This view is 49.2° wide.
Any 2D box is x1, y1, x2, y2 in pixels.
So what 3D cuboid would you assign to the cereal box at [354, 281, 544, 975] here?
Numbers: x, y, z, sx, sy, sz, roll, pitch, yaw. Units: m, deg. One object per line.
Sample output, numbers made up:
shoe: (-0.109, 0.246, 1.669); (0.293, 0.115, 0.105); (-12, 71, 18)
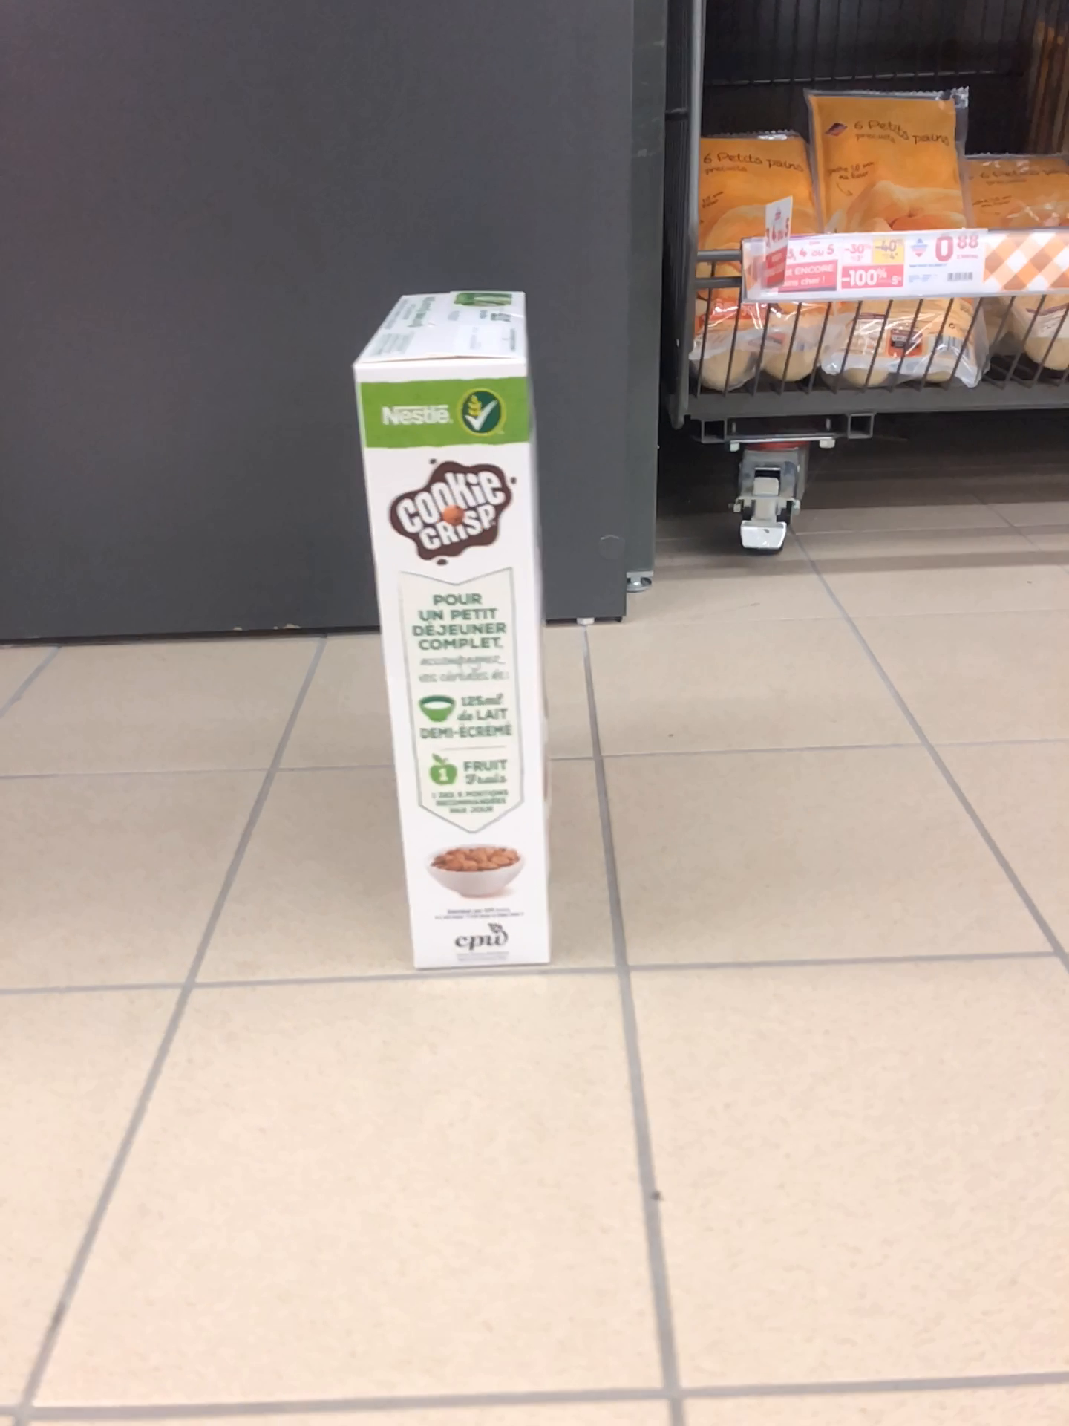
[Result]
cereal box: (-0.030, -0.049, 0.553); (0.060, 0.268, 0.201); (-1, 27, 0)
